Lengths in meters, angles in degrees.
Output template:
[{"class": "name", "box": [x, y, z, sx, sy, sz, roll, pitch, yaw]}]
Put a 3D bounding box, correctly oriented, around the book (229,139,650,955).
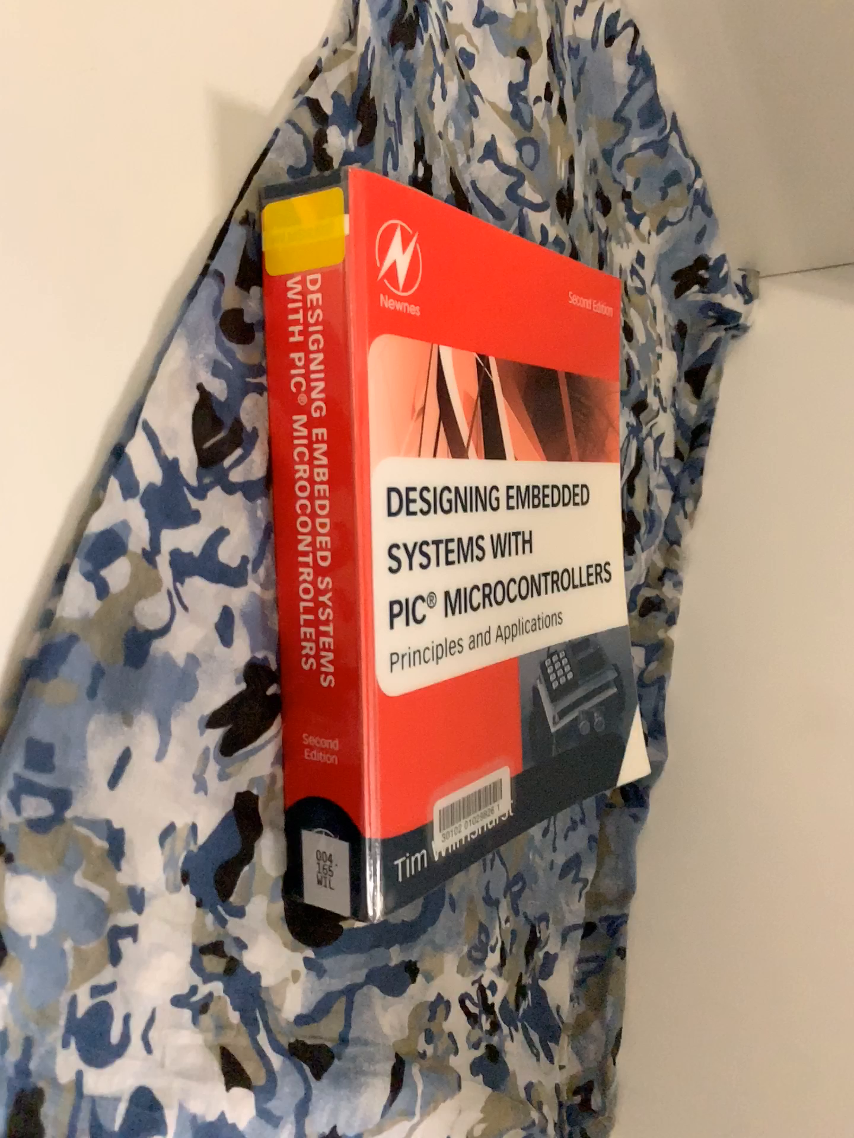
[{"class": "book", "box": [0.024, -0.012, 0.352, 0.211, 0.050, 0.237, -9, 99, -54]}]
